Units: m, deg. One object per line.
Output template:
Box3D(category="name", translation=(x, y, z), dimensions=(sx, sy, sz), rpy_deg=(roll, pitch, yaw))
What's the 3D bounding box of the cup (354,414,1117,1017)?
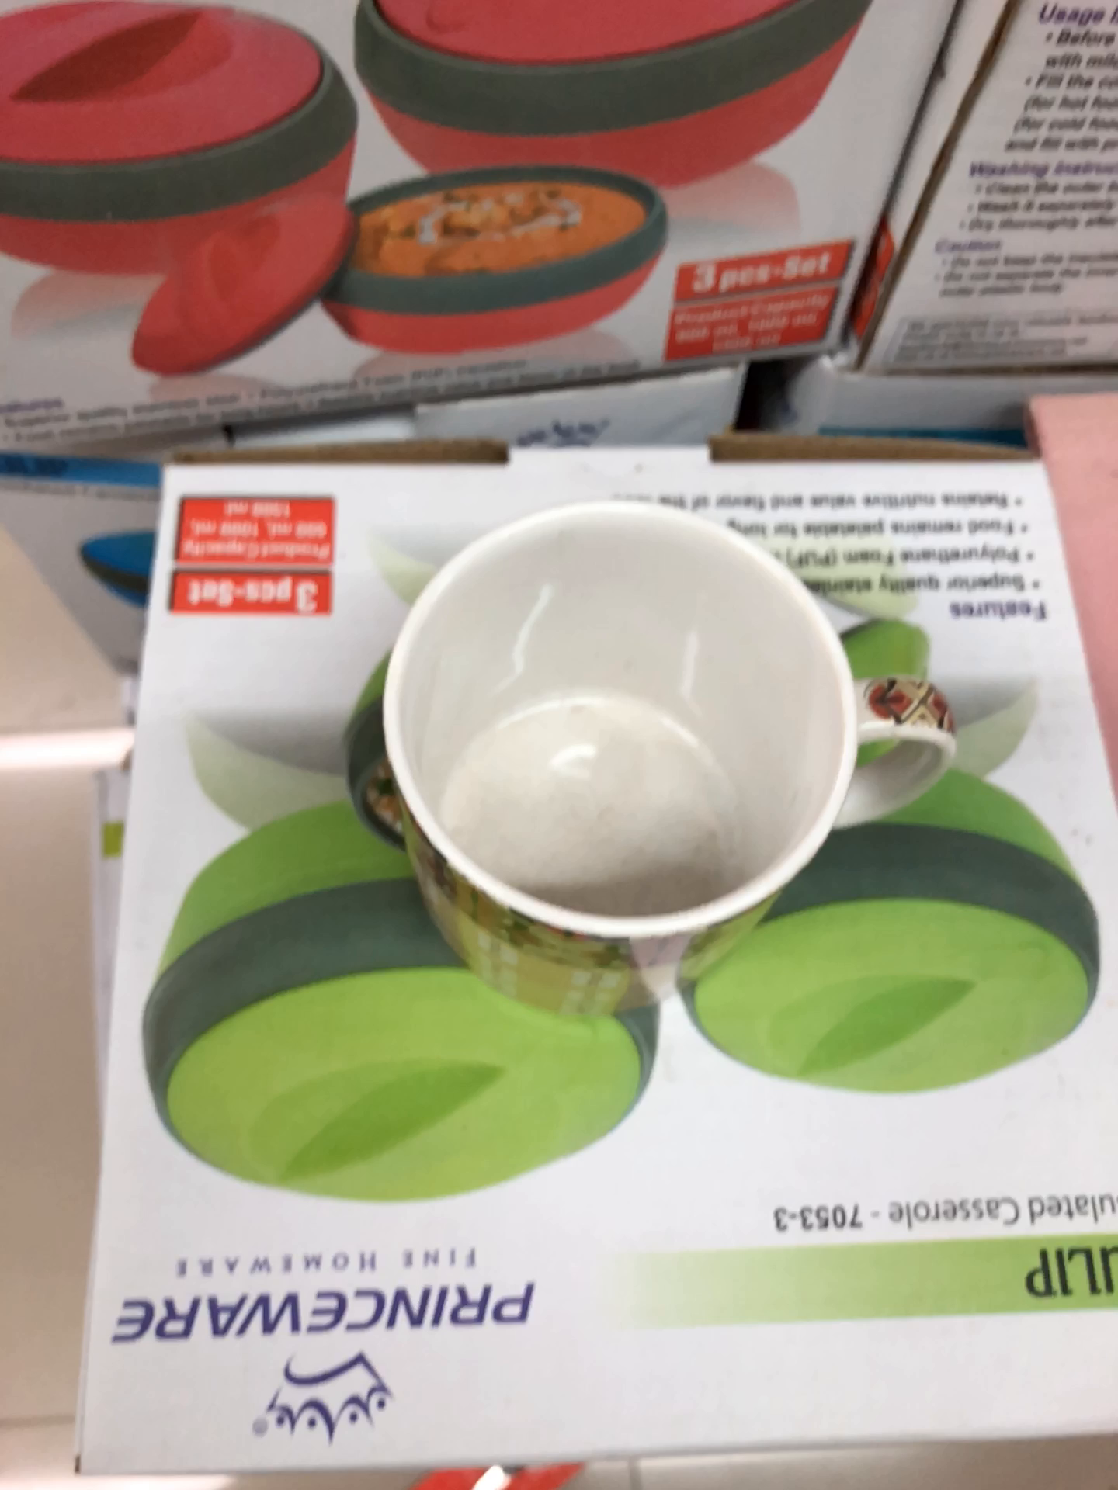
Box3D(category="cup", translation=(0.023, -0.001, 0.230), dimensions=(0.110, 0.080, 0.080), rpy_deg=(-3, 68, -4))
